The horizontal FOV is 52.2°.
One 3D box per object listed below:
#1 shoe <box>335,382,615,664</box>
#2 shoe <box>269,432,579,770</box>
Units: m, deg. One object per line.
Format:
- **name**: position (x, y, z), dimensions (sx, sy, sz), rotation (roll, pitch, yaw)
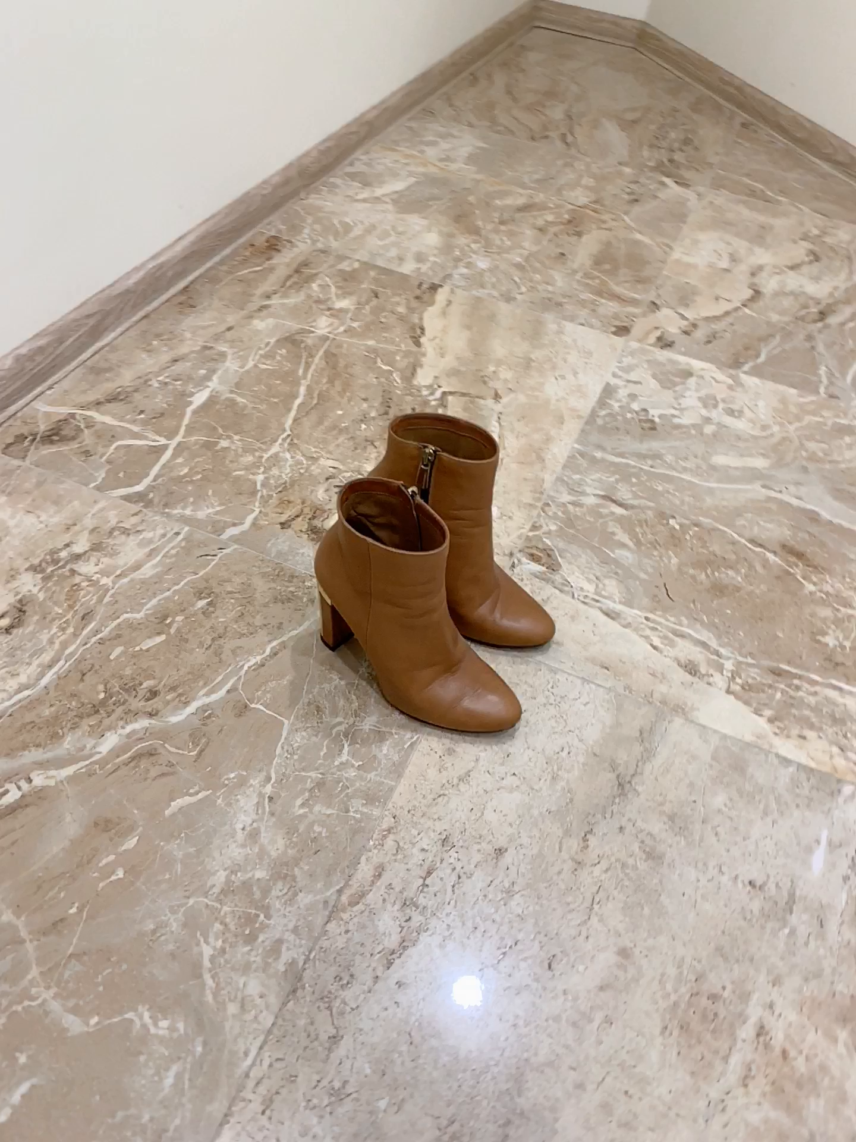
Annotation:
- **shoe**: position (0.033, -0.041, 0.778), dimensions (0.210, 0.175, 0.090), rotation (20, 47, 12)
- **shoe**: position (-0.013, 0.025, 0.720), dimensions (0.220, 0.185, 0.090), rotation (29, 49, 19)
